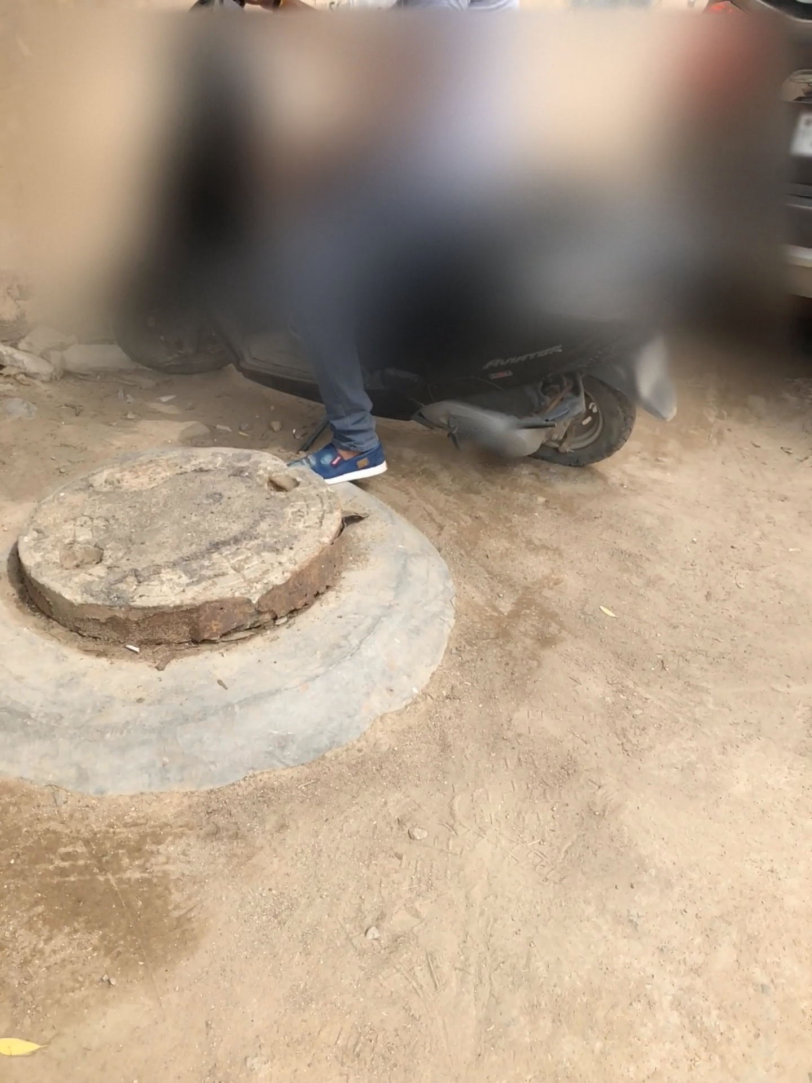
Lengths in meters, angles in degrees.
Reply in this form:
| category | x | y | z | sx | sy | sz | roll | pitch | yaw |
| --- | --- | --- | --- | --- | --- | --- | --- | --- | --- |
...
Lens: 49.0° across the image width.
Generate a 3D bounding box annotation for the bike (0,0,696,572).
| category | x | y | z | sx | sy | sz | roll | pitch | yaw |
| --- | --- | --- | --- | --- | --- | --- | --- | --- | --- |
| bike | -0.213 | -0.783 | 2.324 | 1.650 | 1.228 | 0.656 | 11 | 32 | 14 |
